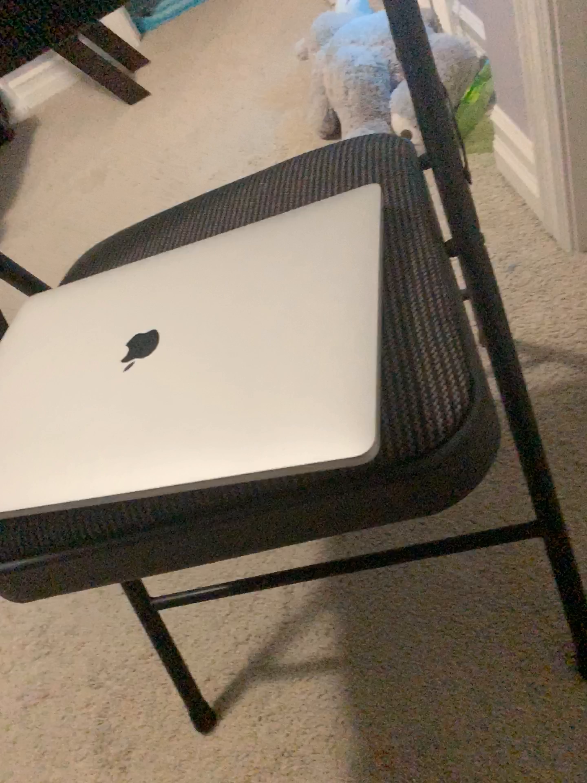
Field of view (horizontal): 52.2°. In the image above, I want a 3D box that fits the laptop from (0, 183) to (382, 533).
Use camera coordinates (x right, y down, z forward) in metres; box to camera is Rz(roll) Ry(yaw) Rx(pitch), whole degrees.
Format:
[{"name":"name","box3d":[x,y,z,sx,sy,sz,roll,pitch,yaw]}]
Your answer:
[{"name":"laptop","box3d":[-0.102,-0.025,0.412,0.332,0.001,0.225,-12,49,22]}]
